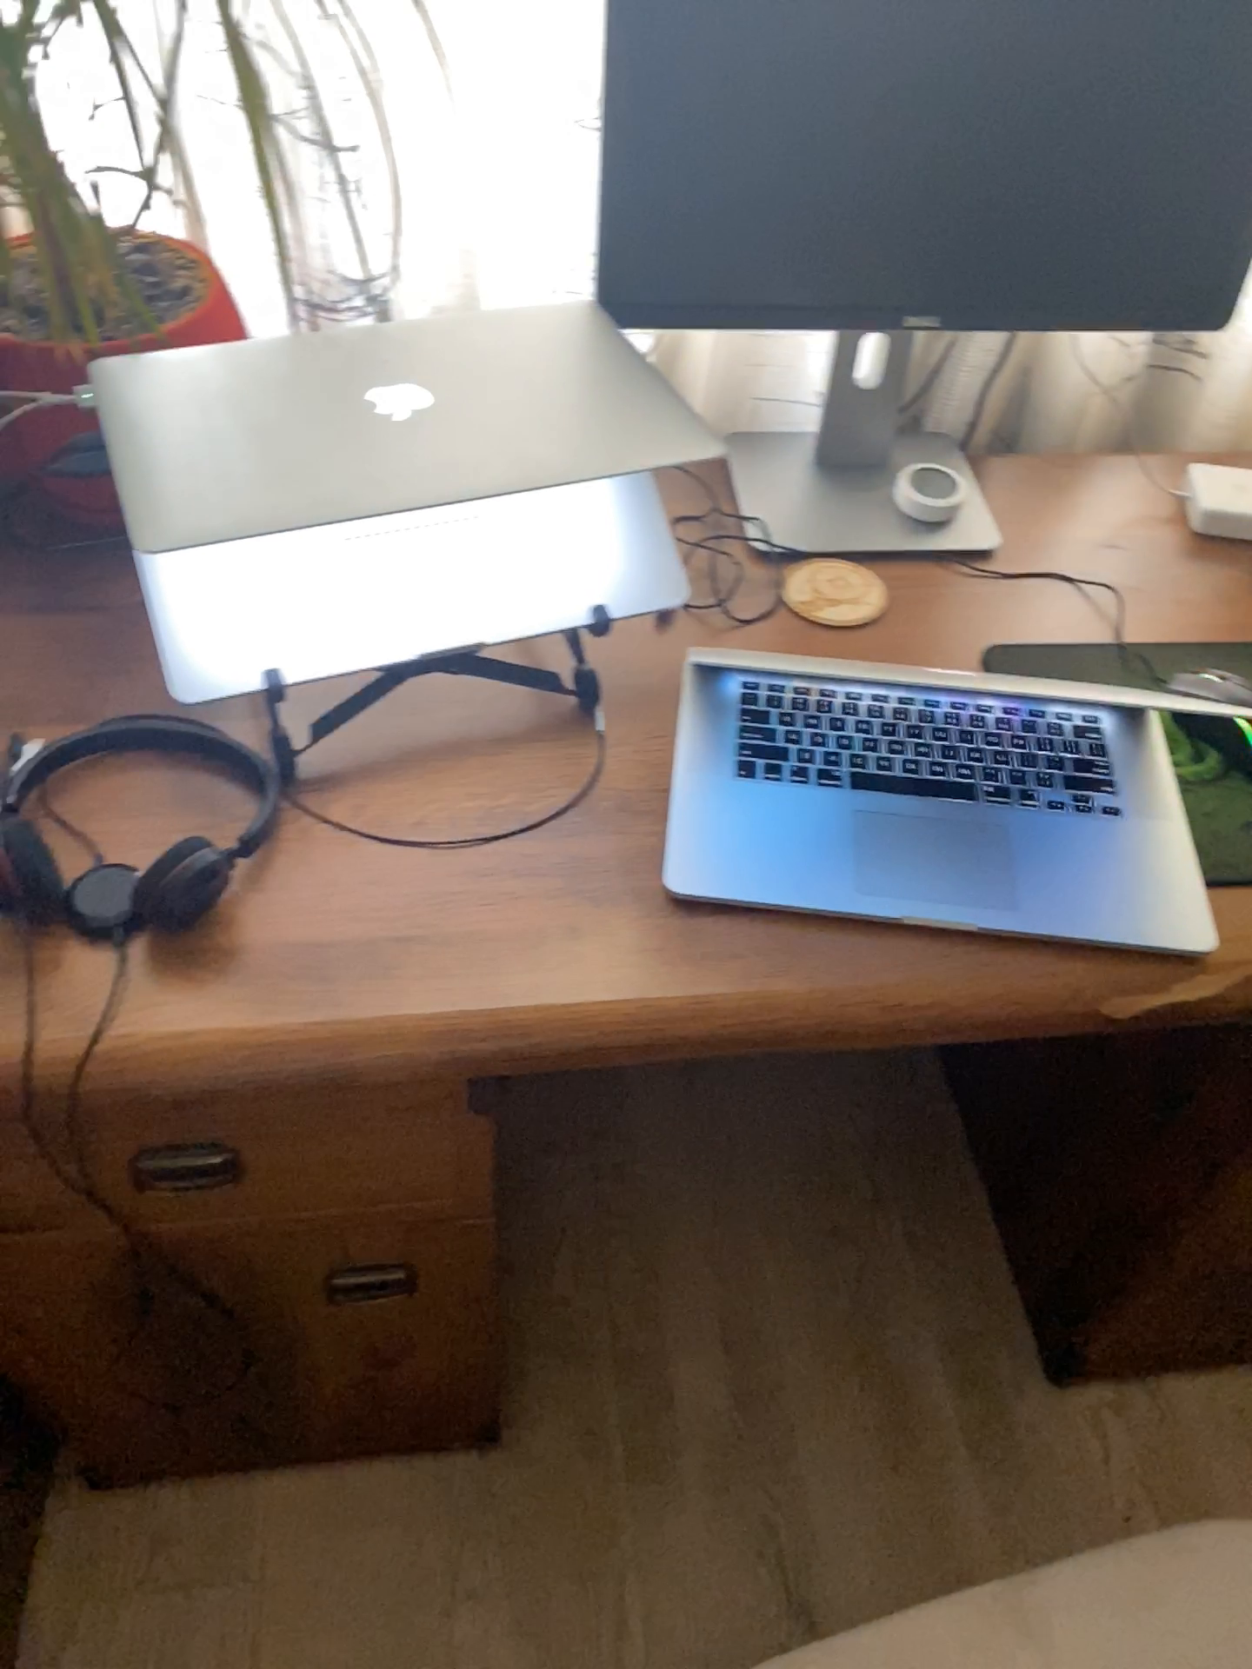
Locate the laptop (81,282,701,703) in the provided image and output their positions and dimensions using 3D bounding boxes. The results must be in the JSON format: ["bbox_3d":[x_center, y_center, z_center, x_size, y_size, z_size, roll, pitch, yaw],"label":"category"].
[{"bbox_3d":[-0.153,-0.243,0.856,0.355,0.022,0.243,-14,75,-17],"label":"laptop"}]

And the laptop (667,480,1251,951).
[{"bbox_3d":[0.219,-0.084,0.841,0.355,0.152,0.236,7,48,1],"label":"laptop"}]
